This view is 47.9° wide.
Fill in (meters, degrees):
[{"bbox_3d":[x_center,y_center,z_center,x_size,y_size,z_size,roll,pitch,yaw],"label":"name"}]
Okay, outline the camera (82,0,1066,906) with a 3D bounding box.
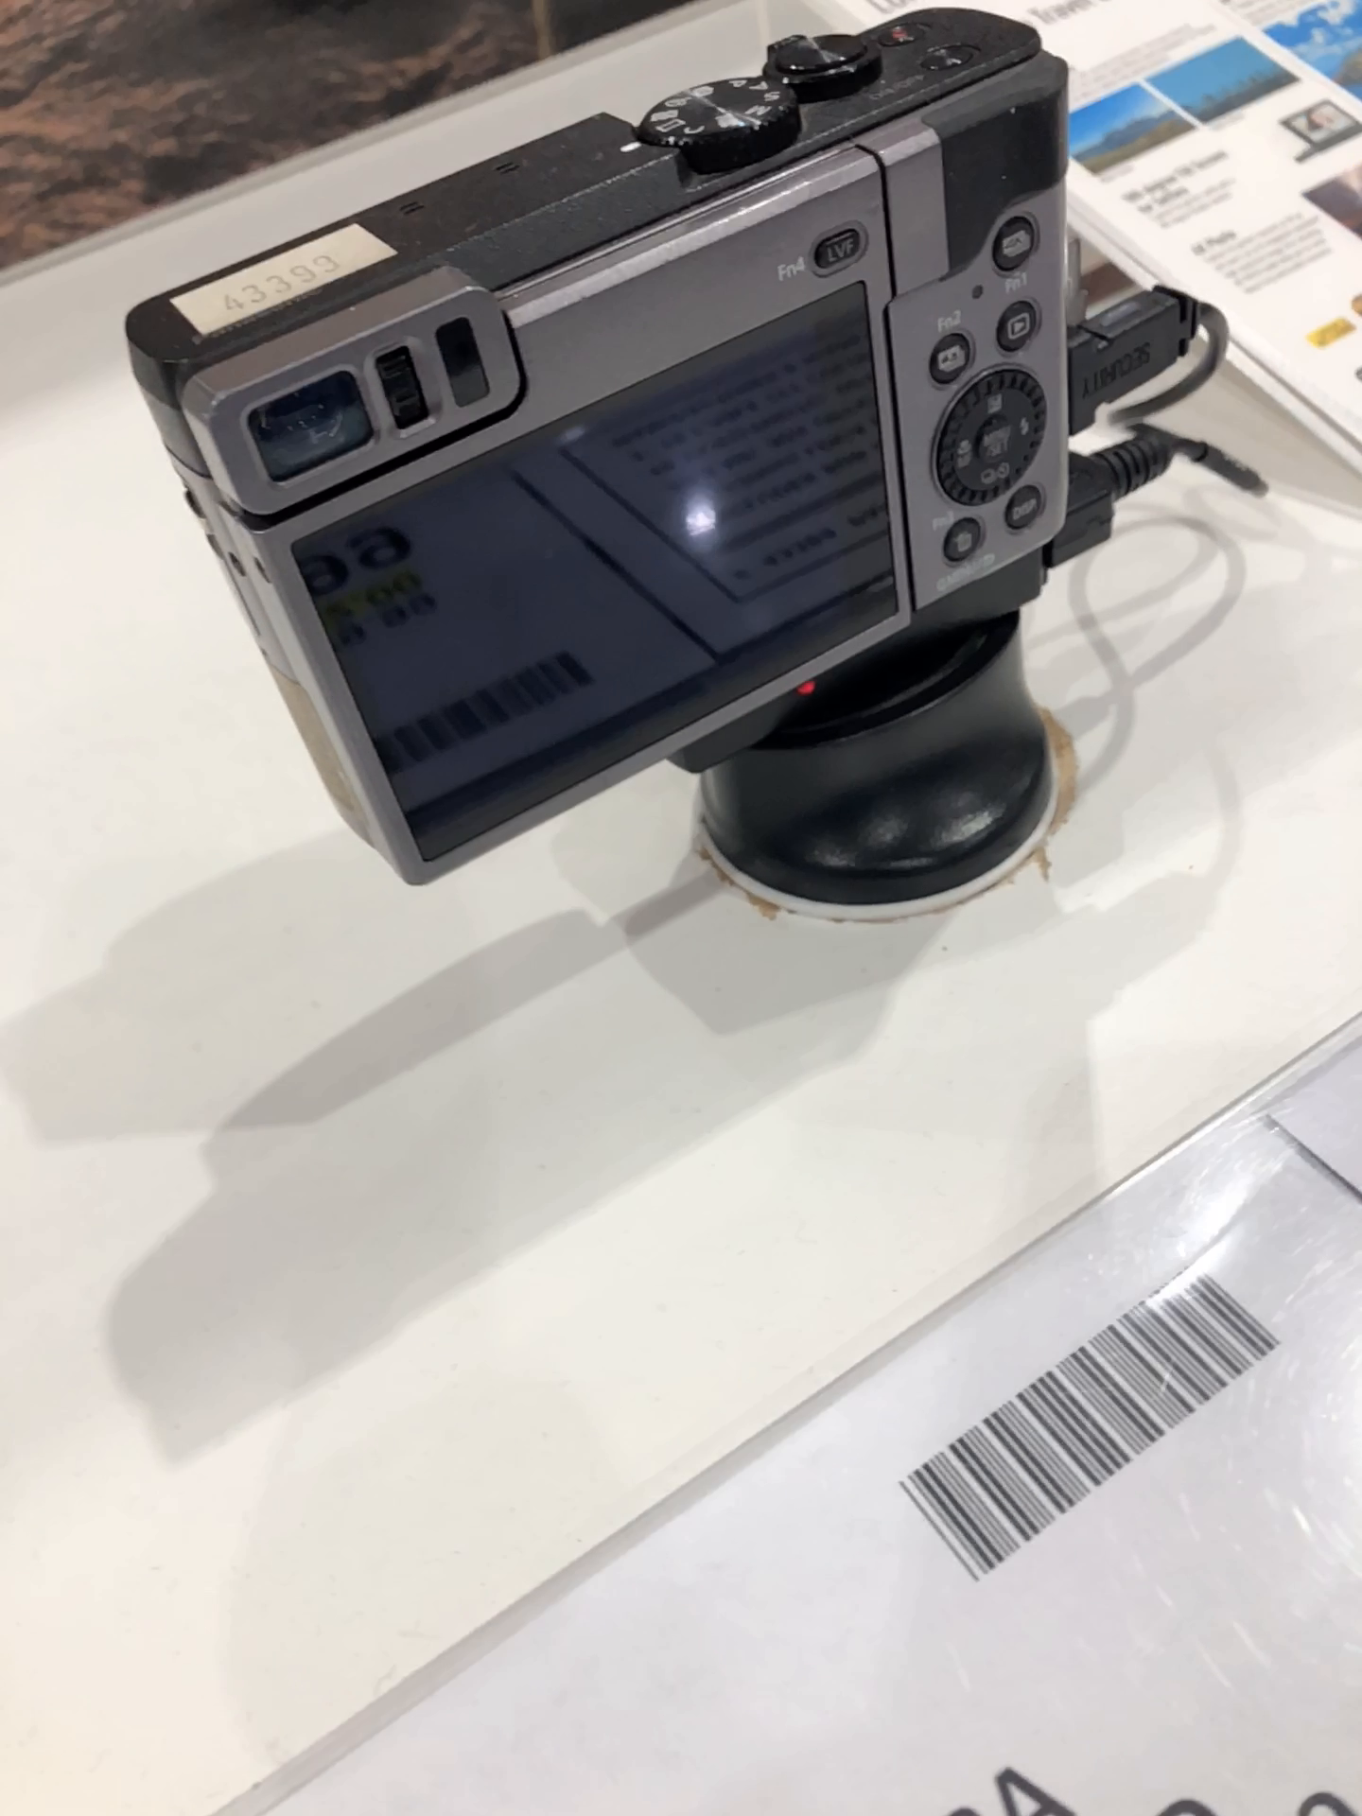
[{"bbox_3d":[-0.005,-0.056,0.188,0.107,0.065,0.030,-29,46,-15],"label":"camera"}]
